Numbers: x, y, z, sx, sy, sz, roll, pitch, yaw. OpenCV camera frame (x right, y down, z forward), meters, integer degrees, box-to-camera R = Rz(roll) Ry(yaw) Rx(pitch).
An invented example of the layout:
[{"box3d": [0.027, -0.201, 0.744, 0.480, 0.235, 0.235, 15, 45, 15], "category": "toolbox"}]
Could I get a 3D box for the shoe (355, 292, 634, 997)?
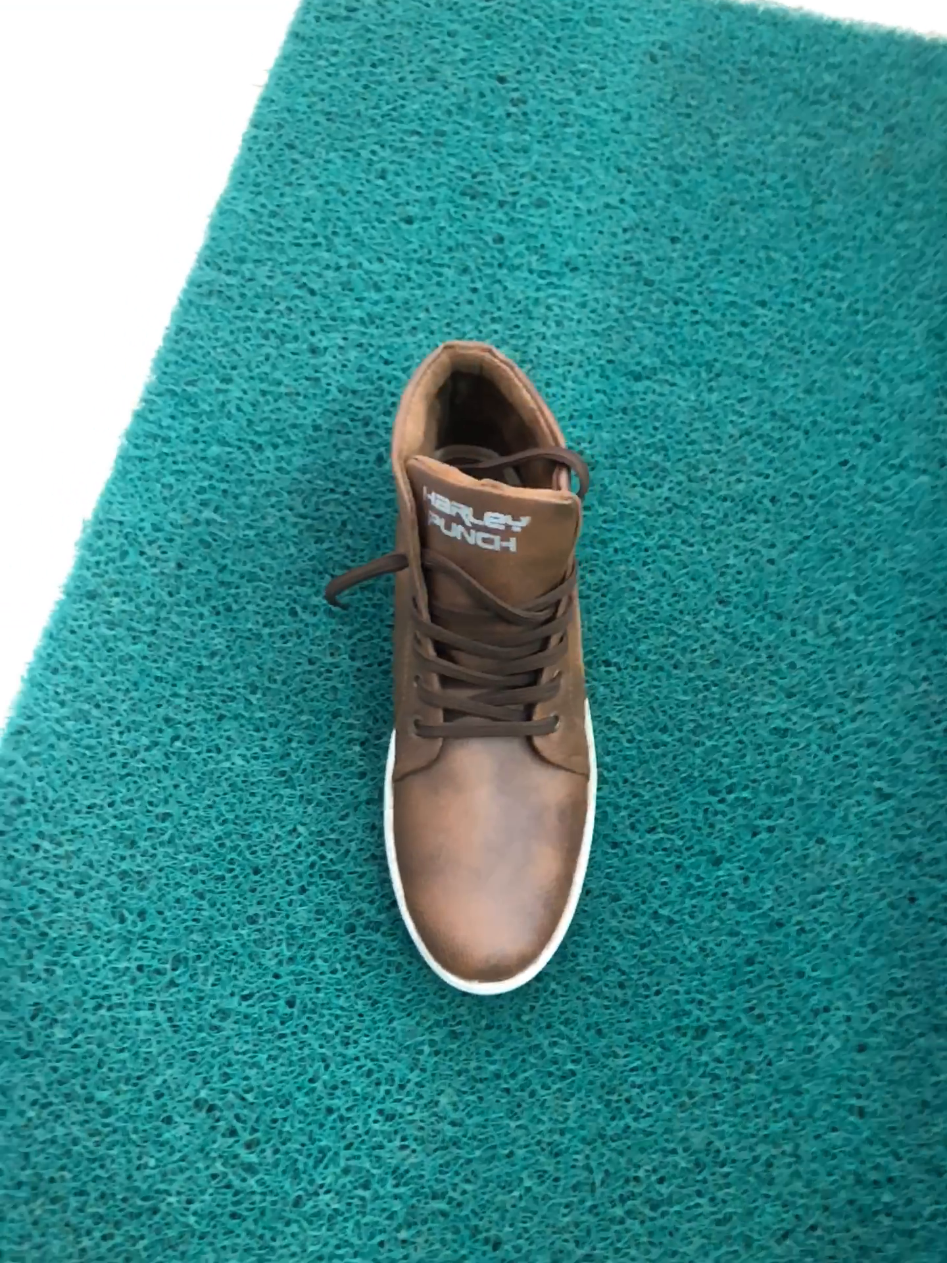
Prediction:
[{"box3d": [-0.001, 0.019, 0.477, 0.090, 0.190, 0.270, -2, 69, -3], "category": "shoe"}]
